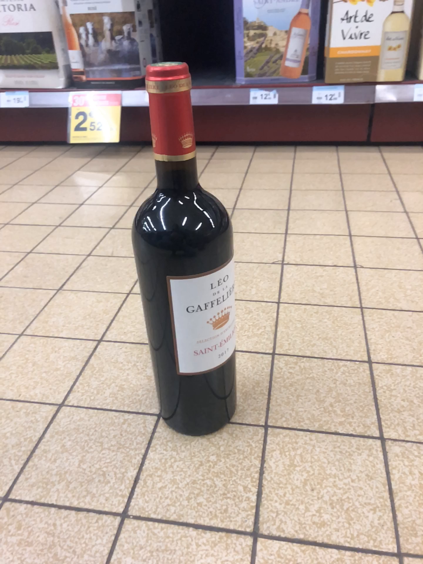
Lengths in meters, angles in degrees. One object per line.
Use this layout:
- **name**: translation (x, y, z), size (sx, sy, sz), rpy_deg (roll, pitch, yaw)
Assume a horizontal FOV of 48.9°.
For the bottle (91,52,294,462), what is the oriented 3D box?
- **bottle**: translation (-0.007, -0.011, 0.358), size (0.090, 0.287, 0.090), rpy_deg (-2, 30, 1)
